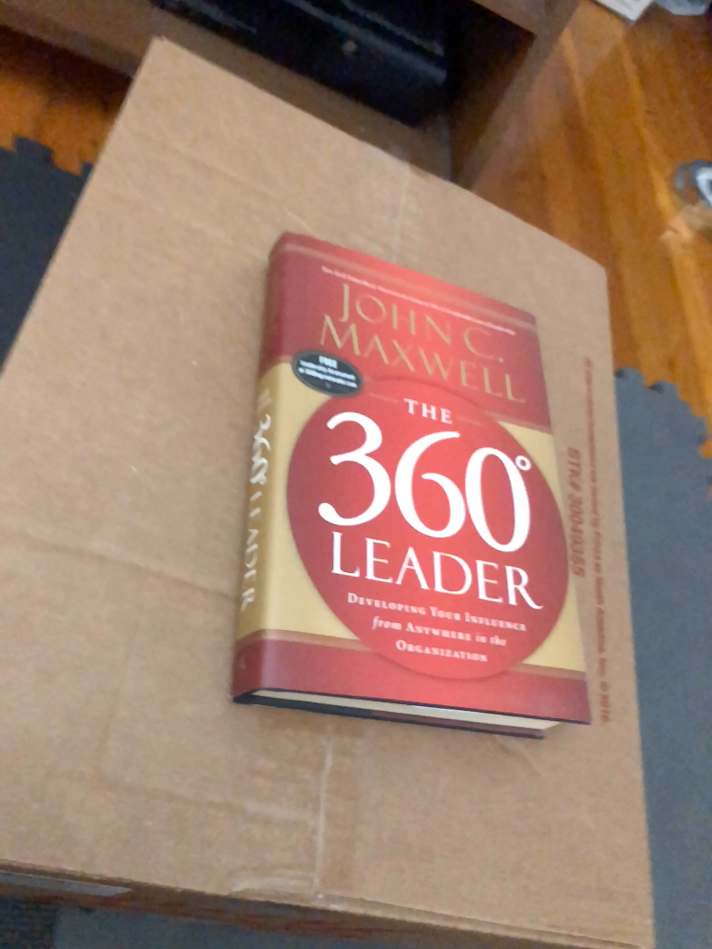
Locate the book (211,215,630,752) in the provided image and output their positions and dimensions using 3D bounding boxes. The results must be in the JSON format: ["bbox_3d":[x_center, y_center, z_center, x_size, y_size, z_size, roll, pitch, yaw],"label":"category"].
[{"bbox_3d":[0.034,-0.001,0.386,0.180,0.030,0.241,14,58,-21],"label":"book"}]
